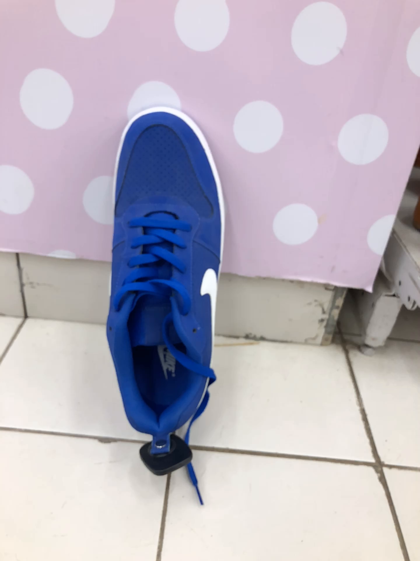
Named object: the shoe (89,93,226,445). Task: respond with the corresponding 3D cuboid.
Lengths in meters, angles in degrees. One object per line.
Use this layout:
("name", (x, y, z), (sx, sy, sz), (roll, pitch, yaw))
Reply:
("shoe", (-0.044, -0.009, 0.429), (0.110, 0.290, 0.080), (1, 5, -1))
